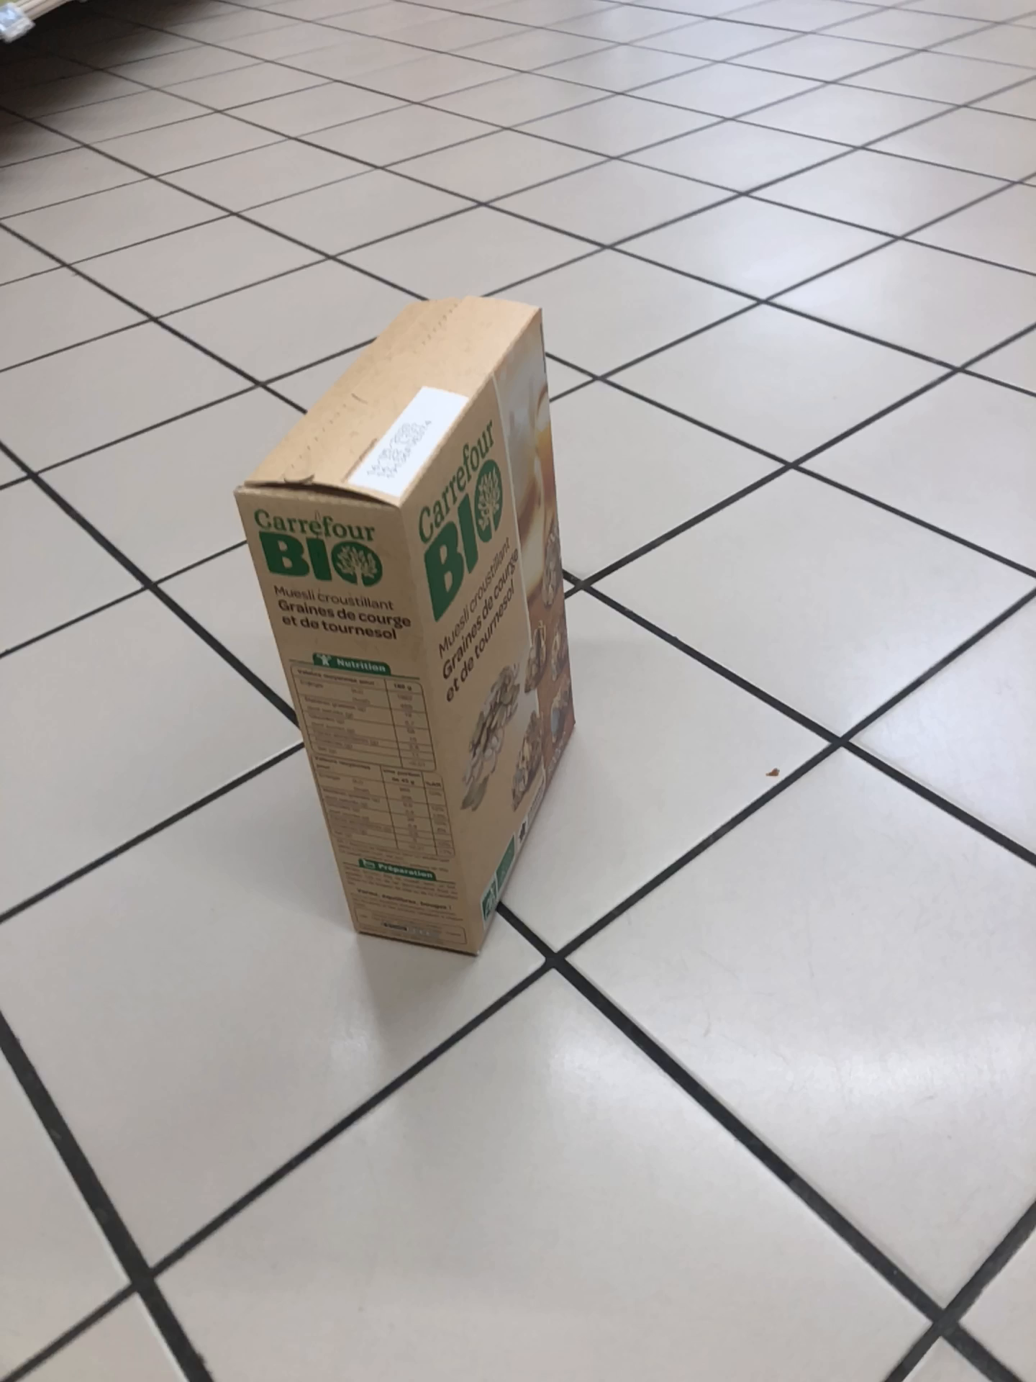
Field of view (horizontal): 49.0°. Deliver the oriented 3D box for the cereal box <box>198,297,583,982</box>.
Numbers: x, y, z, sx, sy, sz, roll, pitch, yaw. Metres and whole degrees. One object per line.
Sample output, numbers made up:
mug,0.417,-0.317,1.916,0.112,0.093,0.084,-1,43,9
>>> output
cereal box,-0.033,-0.021,0.487,0.070,0.229,0.171,9,42,17
